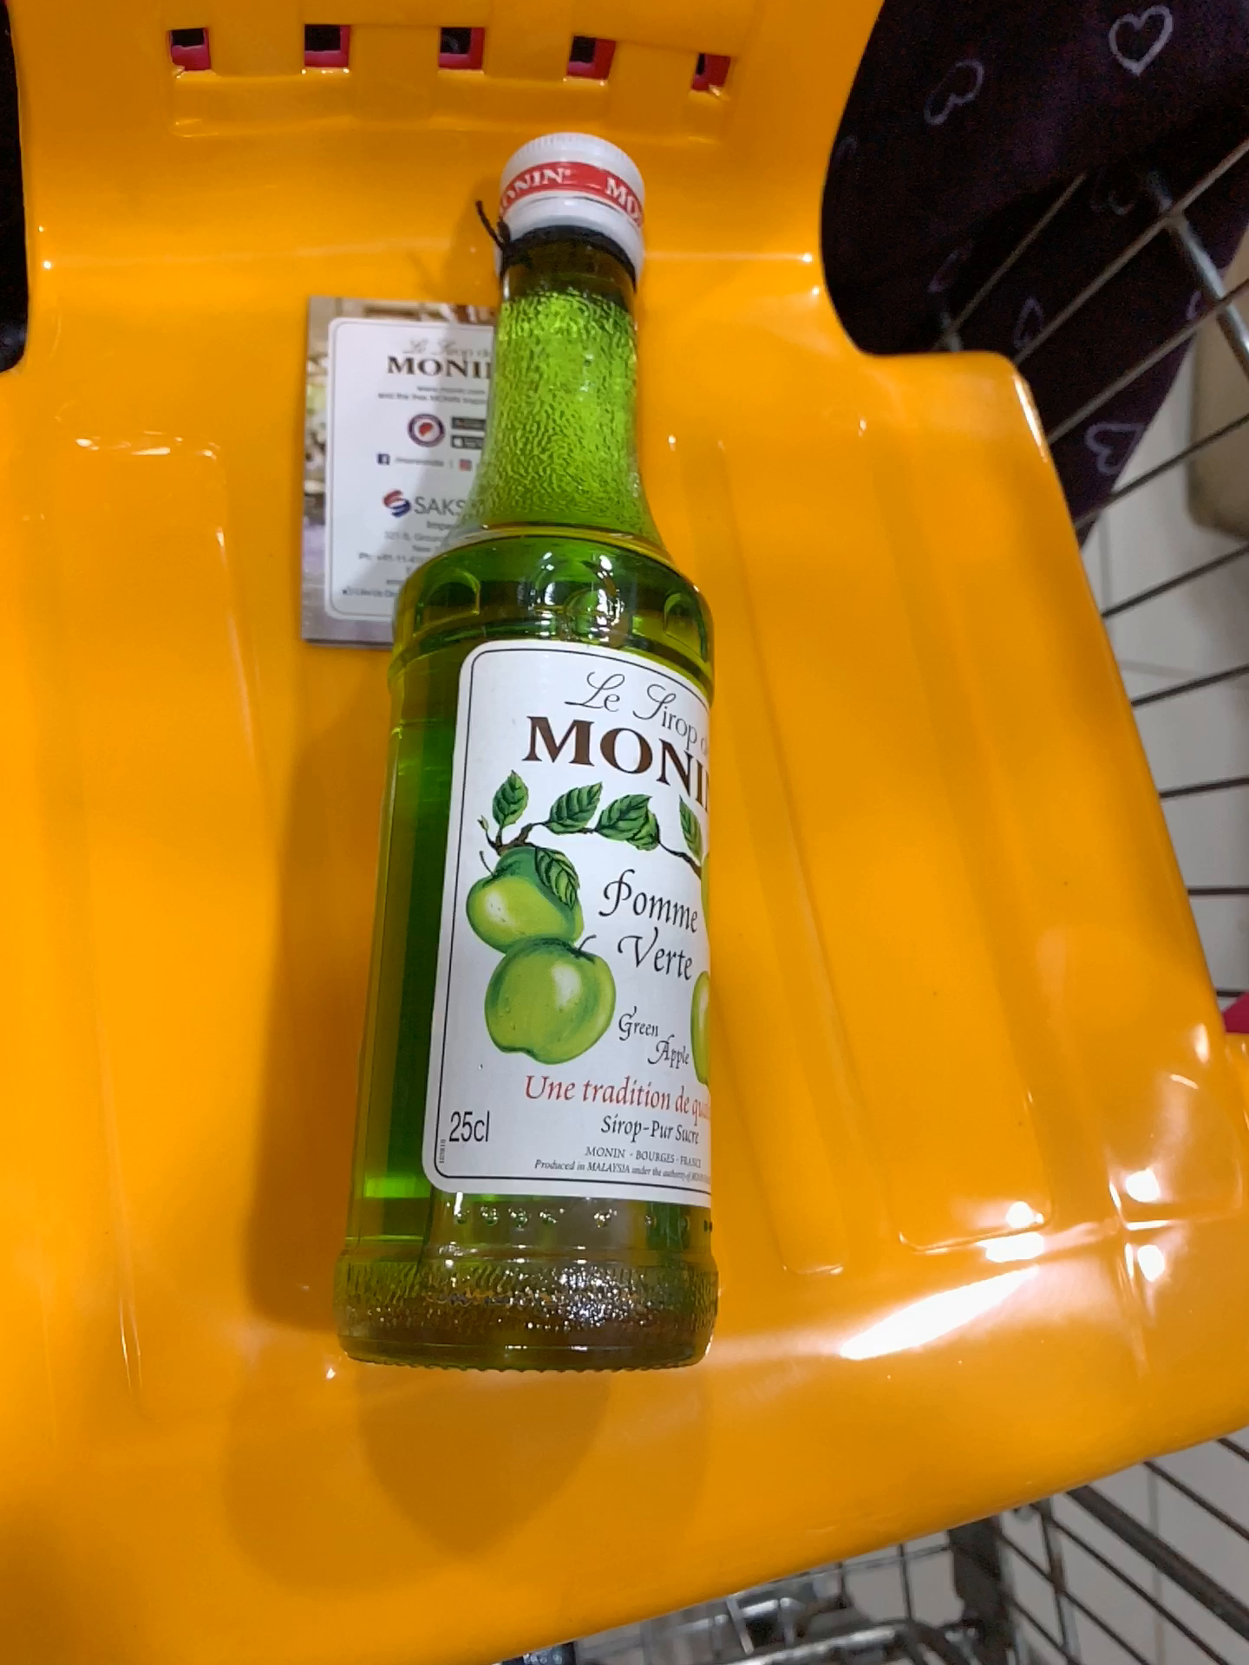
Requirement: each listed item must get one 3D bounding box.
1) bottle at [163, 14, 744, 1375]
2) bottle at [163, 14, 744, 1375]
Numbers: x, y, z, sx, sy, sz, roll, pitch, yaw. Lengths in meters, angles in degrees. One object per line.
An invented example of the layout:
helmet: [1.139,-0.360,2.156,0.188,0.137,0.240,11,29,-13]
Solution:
bottle: [-0.021,-0.026,0.234,0.060,0.060,0.220,-6,71,29]
bottle: [-0.021,-0.026,0.234,0.060,0.060,0.220,-6,71,29]
